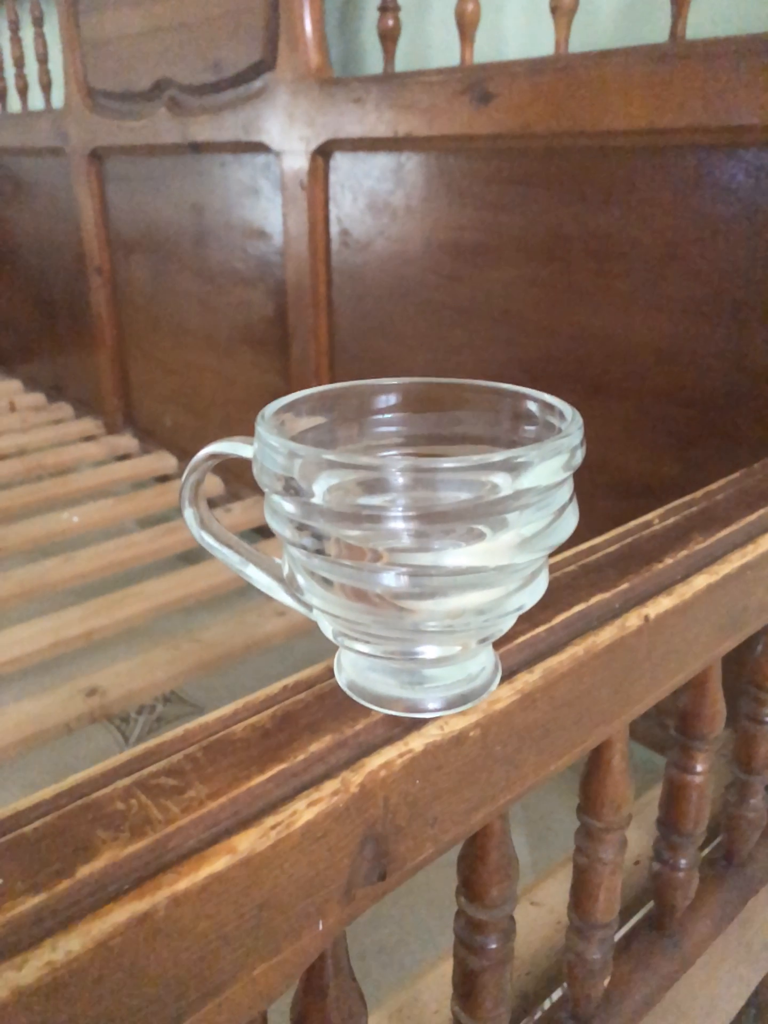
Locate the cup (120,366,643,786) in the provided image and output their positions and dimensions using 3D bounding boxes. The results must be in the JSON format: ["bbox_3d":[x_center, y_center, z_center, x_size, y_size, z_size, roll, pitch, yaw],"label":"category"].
[{"bbox_3d":[0.003,0.006,0.220,0.106,0.065,0.076,9,23,23],"label":"cup"}]
